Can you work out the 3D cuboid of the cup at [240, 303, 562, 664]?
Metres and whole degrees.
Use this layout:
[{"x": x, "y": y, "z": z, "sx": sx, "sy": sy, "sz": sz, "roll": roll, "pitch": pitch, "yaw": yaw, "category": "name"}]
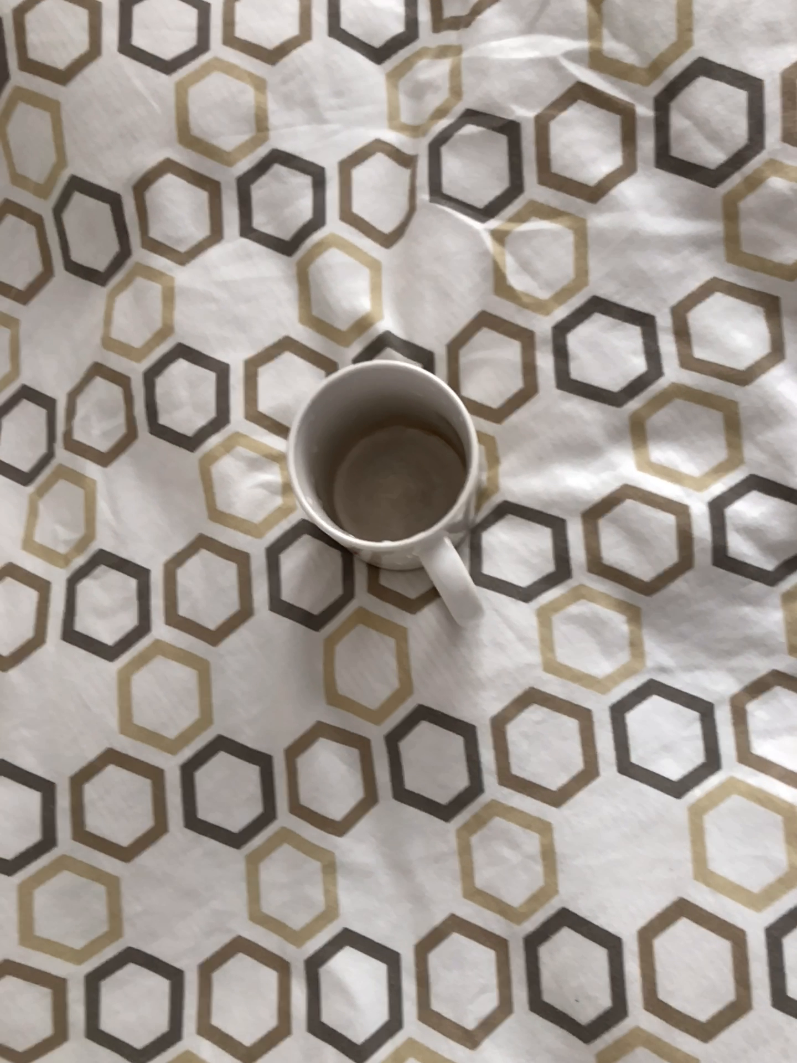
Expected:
[{"x": 0.003, "y": -0.017, "z": 0.408, "sx": 0.086, "sy": 0.088, "sz": 0.126, "roll": -27, "pitch": 82, "yaw": 2, "category": "cup"}]
